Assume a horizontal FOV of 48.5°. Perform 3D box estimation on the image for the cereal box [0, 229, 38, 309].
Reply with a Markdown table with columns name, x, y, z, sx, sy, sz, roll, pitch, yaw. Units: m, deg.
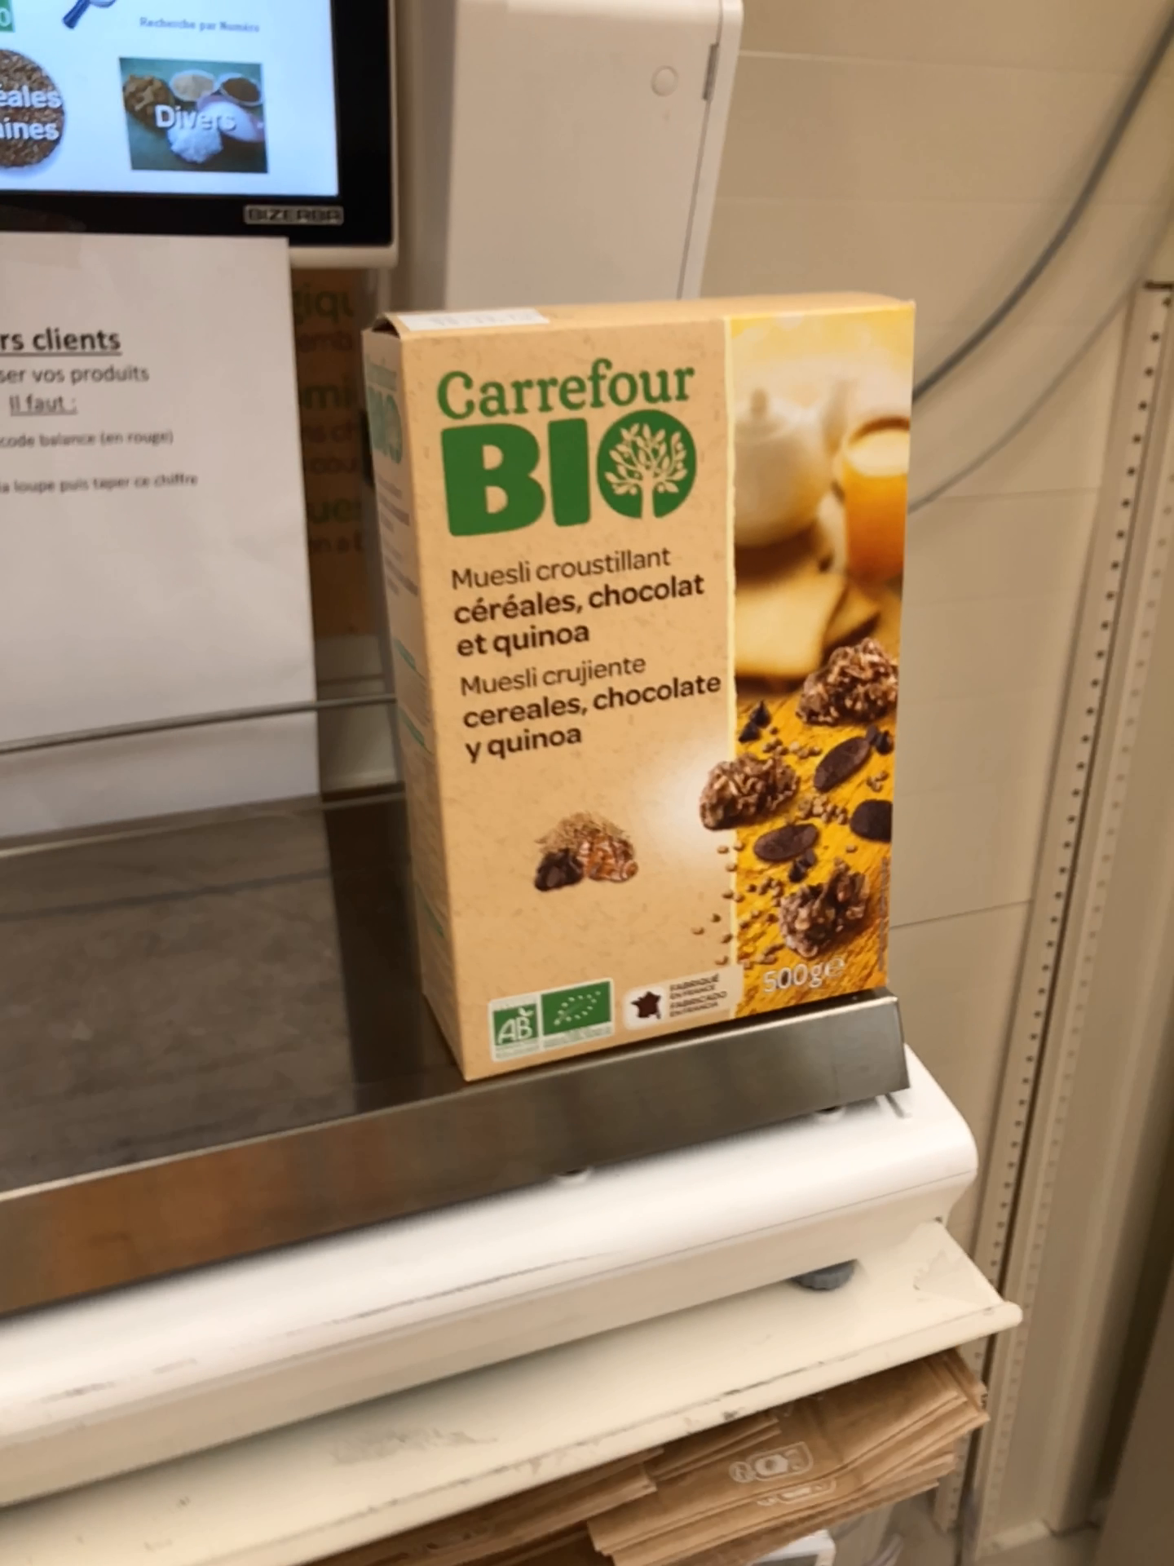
| name | x | y | z | sx | sy | sz | roll | pitch | yaw |
| --- | --- | --- | --- | --- | --- | --- | --- | --- | --- |
| cereal box | -7.773 | -6.973 | 17.654 | 0.461 | 0.975 | 0.532 | -7 | 25 | -18 |
